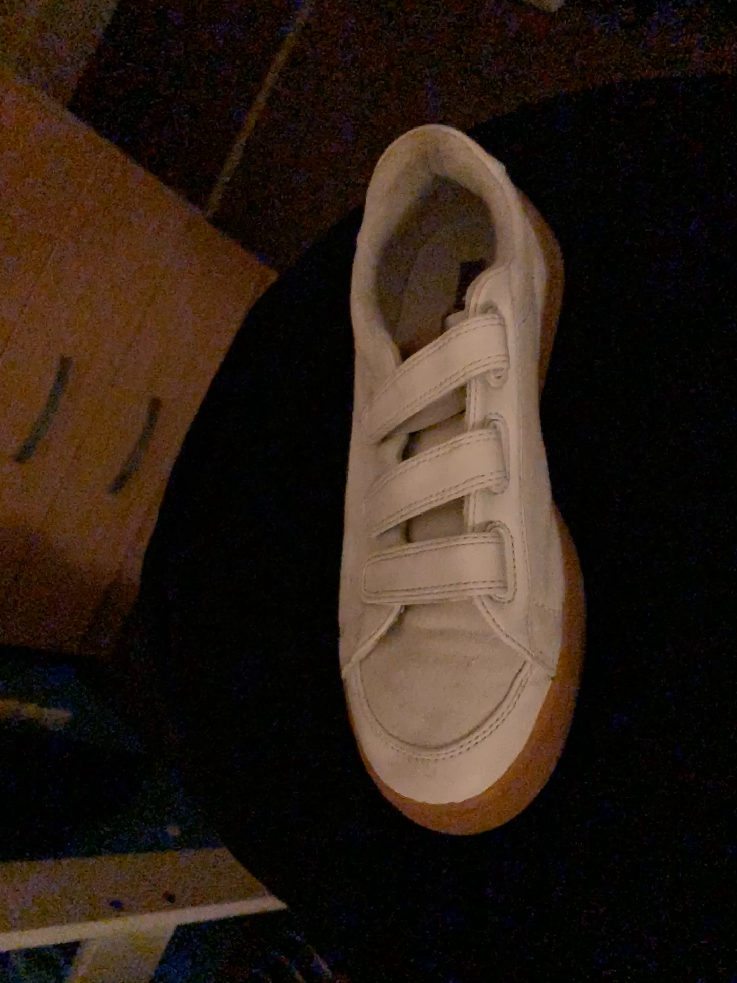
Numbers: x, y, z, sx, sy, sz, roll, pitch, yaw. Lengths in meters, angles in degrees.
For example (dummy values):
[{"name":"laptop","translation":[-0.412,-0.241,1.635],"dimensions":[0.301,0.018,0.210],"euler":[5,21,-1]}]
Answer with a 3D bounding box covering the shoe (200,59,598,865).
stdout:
[{"name":"shoe","translation":[0.017,-0.012,0.281],"dimensions":[0.096,0.079,0.255],"euler":[-11,66,35]}]
